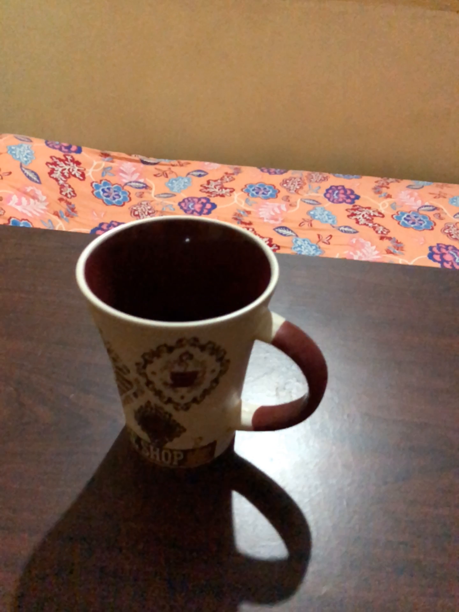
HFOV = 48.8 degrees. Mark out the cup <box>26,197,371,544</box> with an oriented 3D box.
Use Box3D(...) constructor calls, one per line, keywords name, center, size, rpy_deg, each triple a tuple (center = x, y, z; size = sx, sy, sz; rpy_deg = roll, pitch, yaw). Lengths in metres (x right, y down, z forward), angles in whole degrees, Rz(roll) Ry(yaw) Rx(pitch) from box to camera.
Box3D(name="cup", center=(-0.010, 0.023, 0.254), size=(0.120, 0.099, 0.101), rpy_deg=(18, 39, 19))
